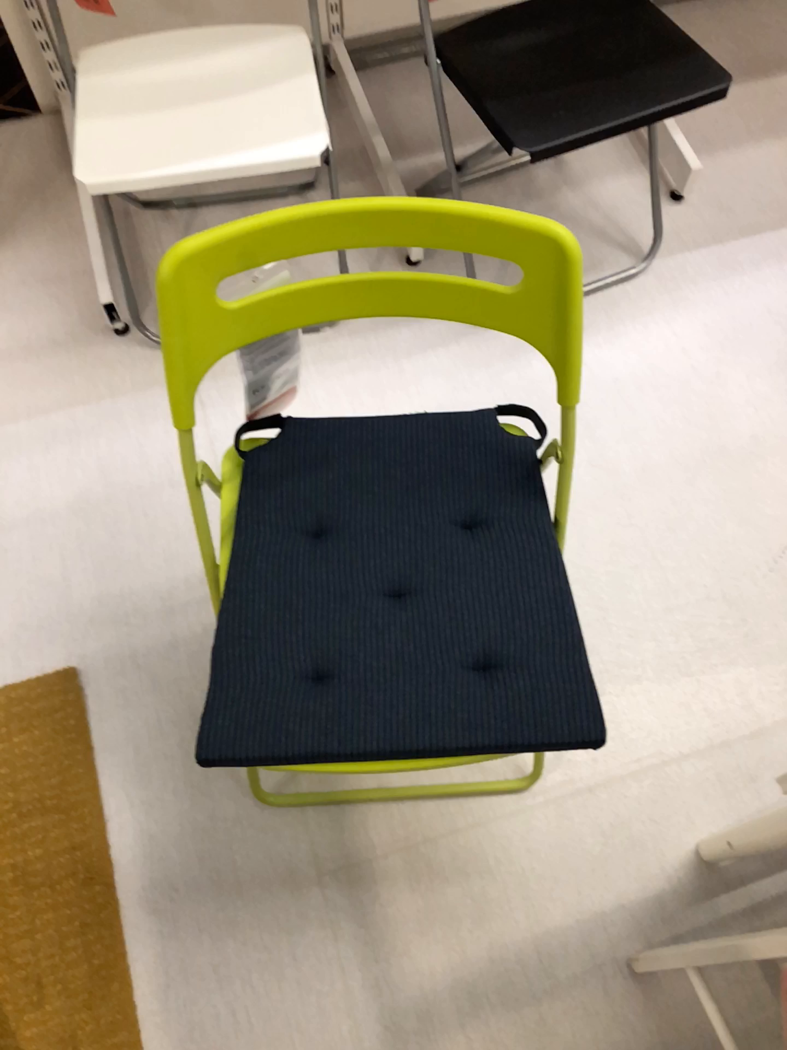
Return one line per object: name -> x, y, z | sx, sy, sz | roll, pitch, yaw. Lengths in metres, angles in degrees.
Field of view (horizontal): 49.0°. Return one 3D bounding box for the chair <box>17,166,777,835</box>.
chair -> -0.007, 0.043, 0.945 | 0.490, 0.637, 0.462 | -4, 64, -1
